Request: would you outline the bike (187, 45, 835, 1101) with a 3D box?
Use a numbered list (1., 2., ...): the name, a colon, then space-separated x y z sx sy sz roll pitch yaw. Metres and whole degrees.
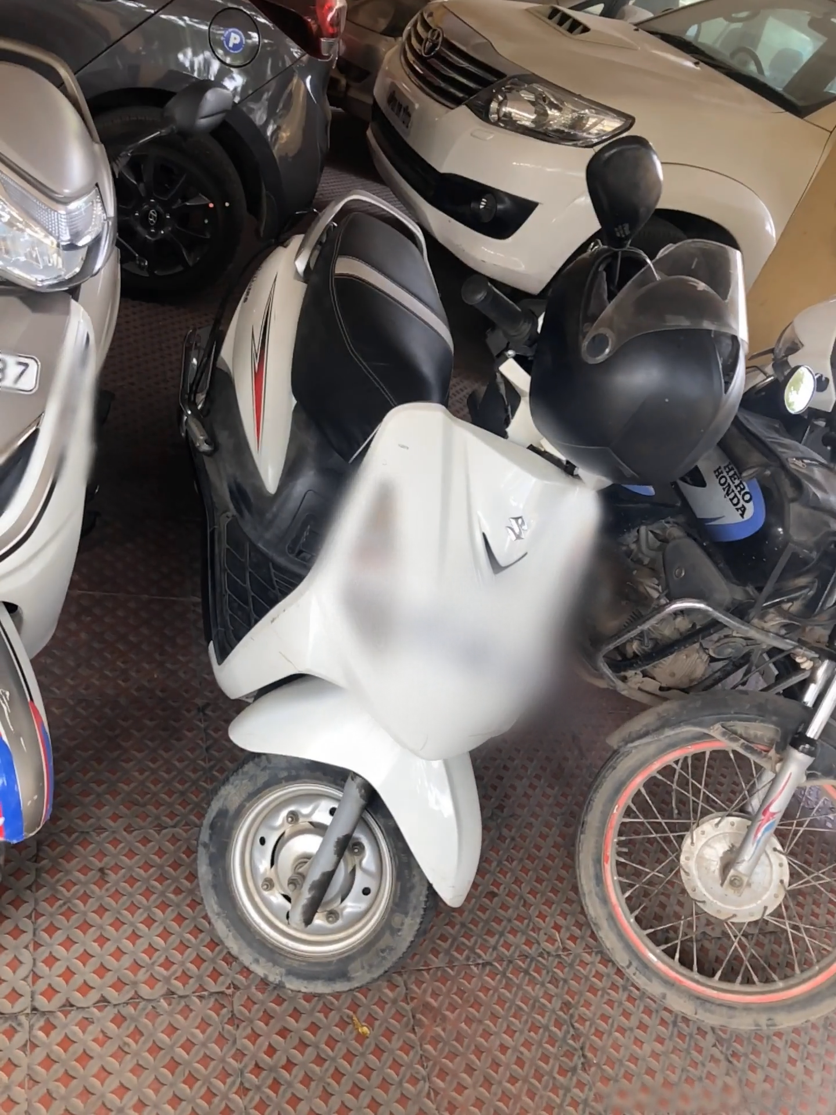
1. bike: 0.118 -0.041 1.885 0.833 0.941 1.514 3 48 -28
